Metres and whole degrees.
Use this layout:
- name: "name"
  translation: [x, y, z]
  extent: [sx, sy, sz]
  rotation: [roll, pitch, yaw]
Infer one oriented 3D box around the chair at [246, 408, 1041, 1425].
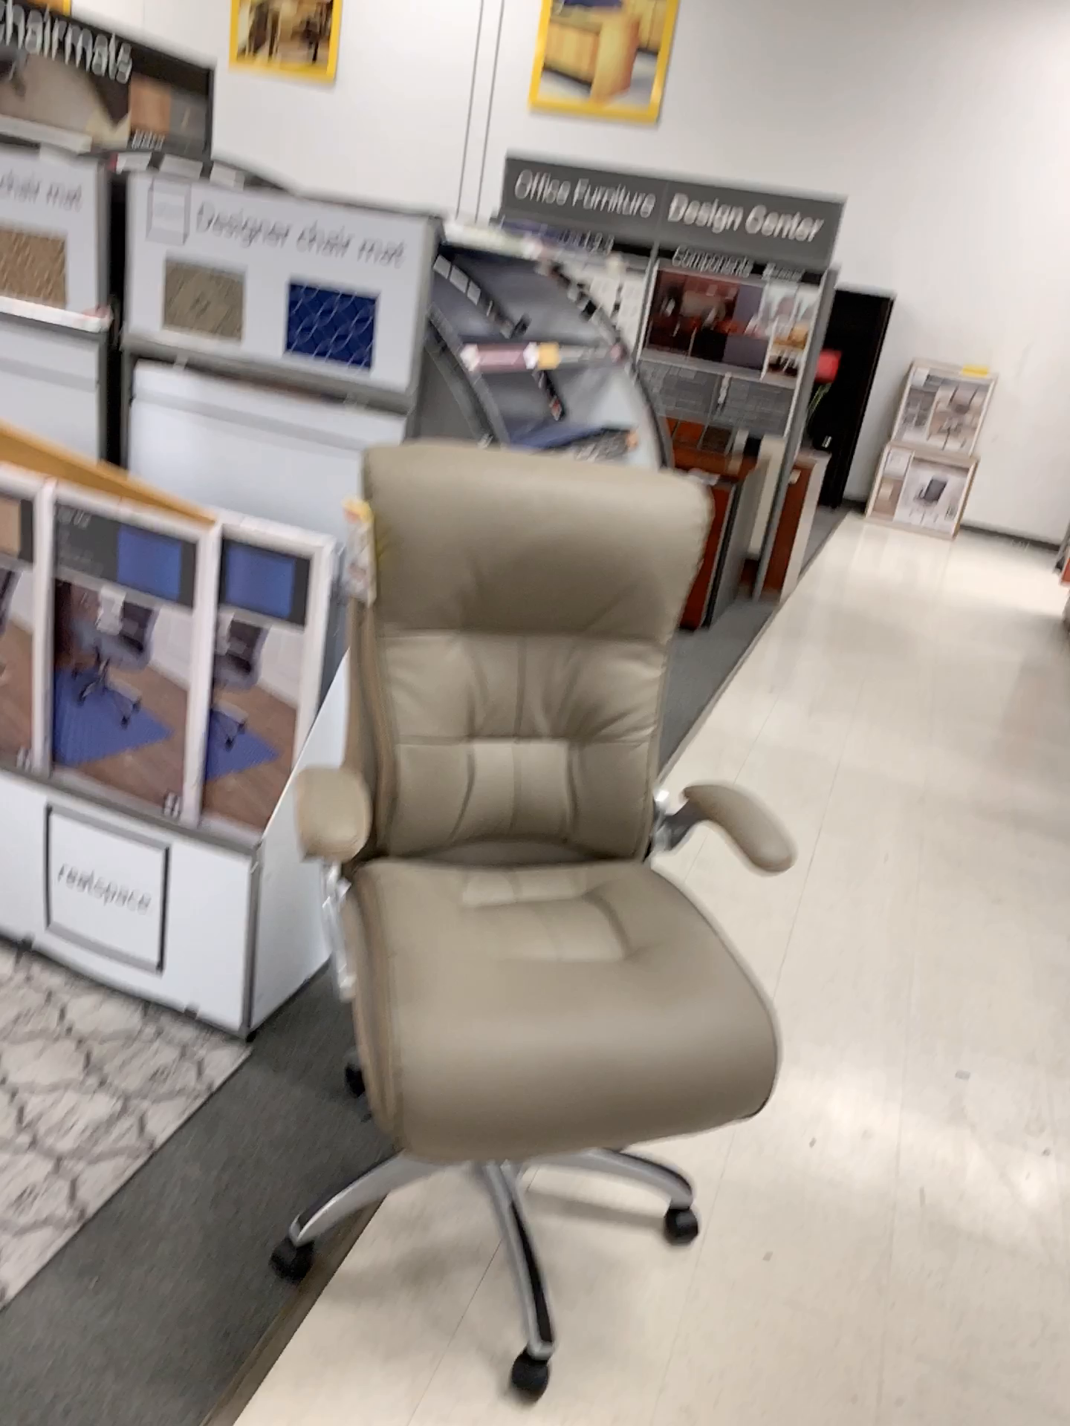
- name: "chair"
  translation: [0.006, 0.248, 1.563]
  extent: [0.710, 1.145, 0.723]
  rotation: [2, 23, -19]
